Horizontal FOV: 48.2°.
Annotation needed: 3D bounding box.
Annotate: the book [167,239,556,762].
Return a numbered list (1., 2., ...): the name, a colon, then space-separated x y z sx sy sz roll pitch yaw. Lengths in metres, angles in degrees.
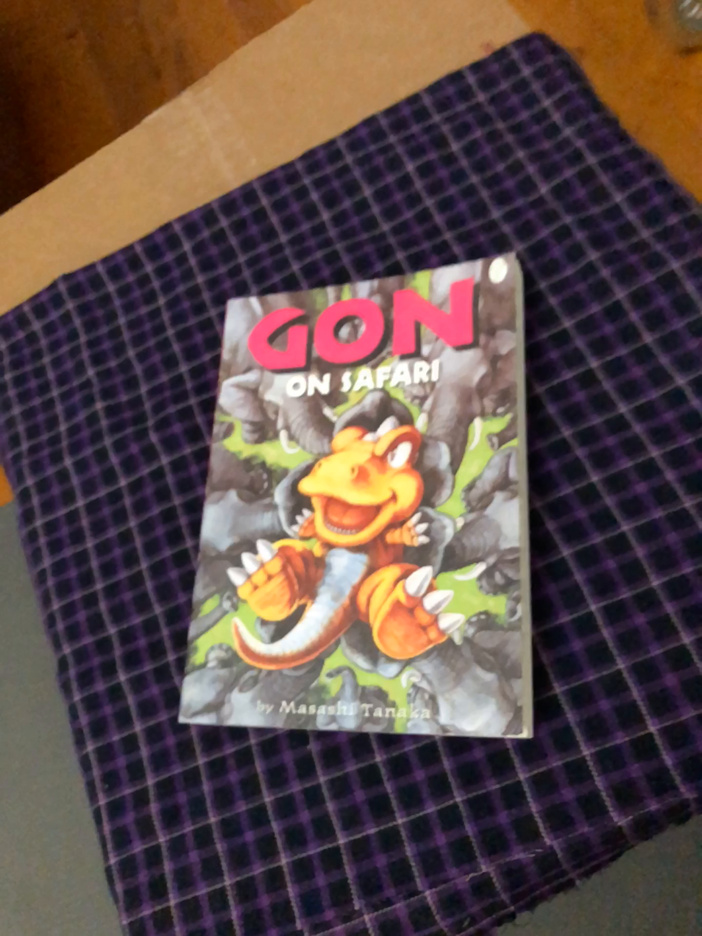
1. book: 0.006 0.008 0.335 0.150 0.020 0.210 -4 69 19
